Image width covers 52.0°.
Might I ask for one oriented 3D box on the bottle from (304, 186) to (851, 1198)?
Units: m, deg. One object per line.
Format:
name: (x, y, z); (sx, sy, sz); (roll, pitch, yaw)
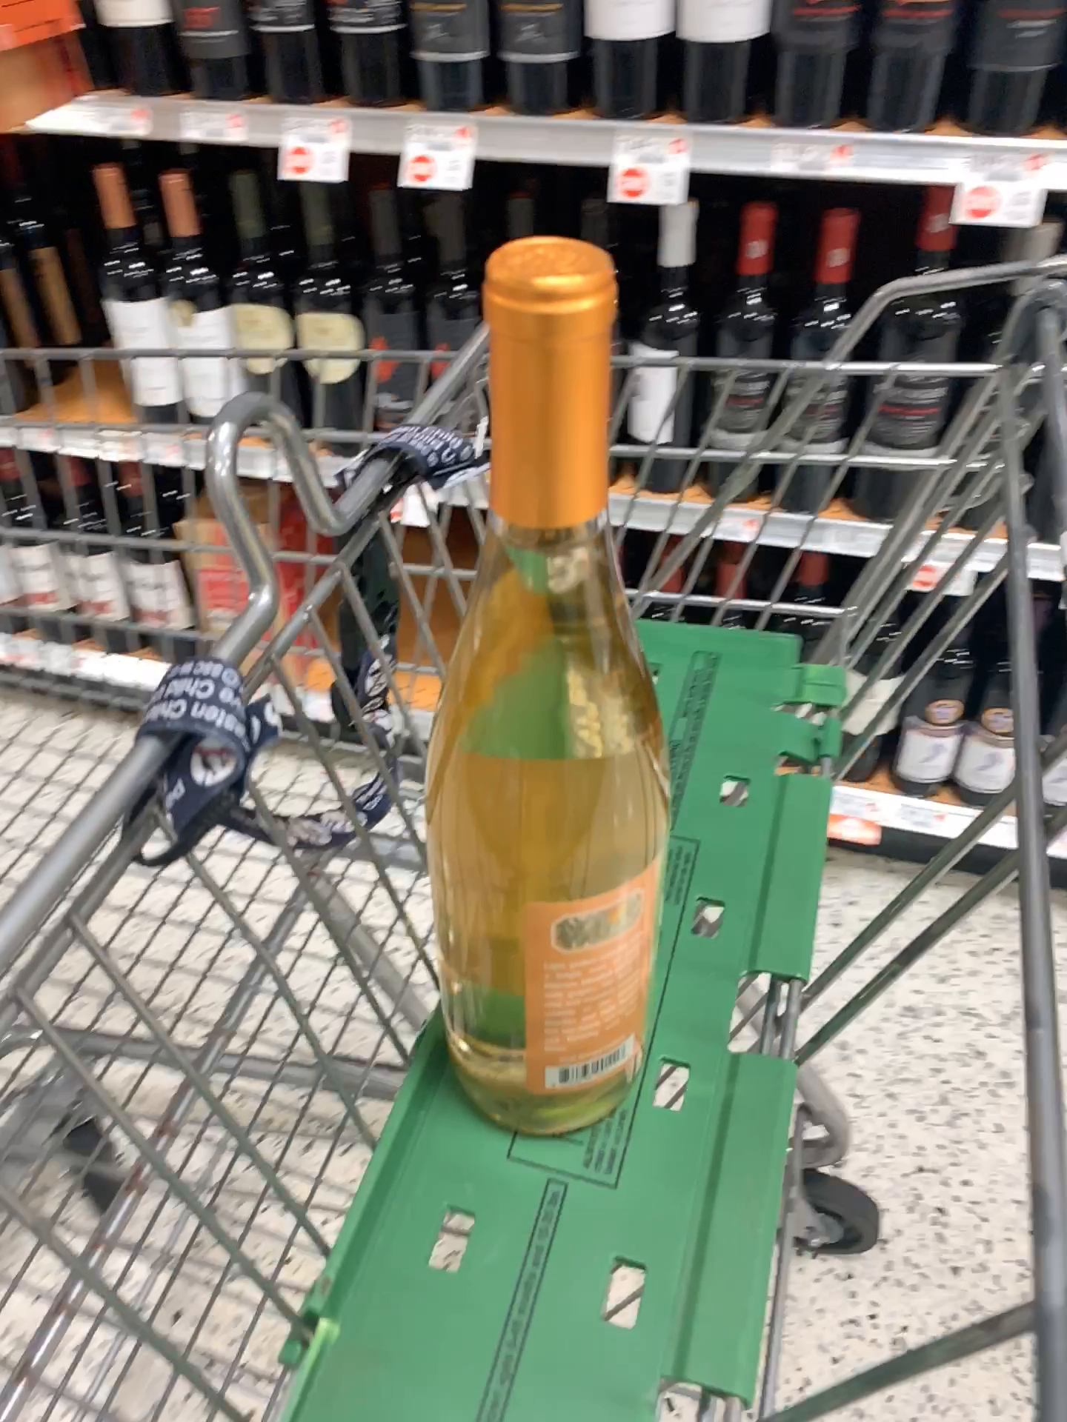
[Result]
bottle: (0.009, 0.017, 0.331); (0.087, 0.297, 0.084); (-1, 40, 0)
